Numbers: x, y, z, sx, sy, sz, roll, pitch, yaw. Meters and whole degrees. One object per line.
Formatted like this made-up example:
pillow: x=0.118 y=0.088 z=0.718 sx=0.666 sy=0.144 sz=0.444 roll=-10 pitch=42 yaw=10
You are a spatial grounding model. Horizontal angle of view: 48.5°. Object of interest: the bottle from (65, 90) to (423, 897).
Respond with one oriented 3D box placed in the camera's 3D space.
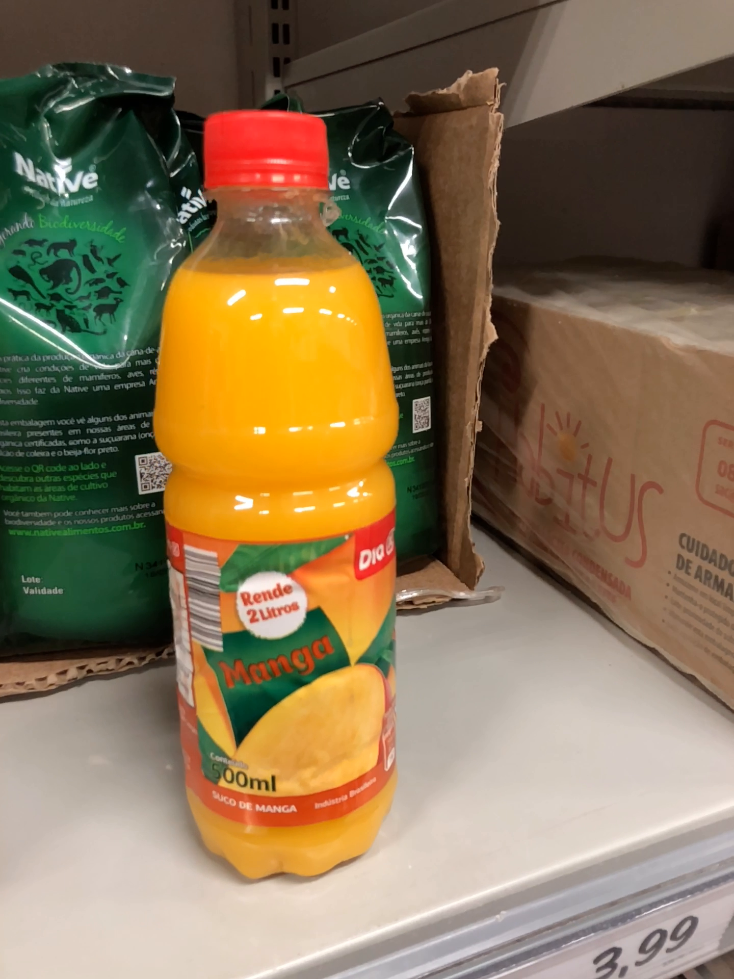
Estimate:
bottle: x=-0.022 y=0.007 z=0.219 sx=0.070 sy=0.199 sz=0.060 roll=-1 pitch=19 yaw=1
